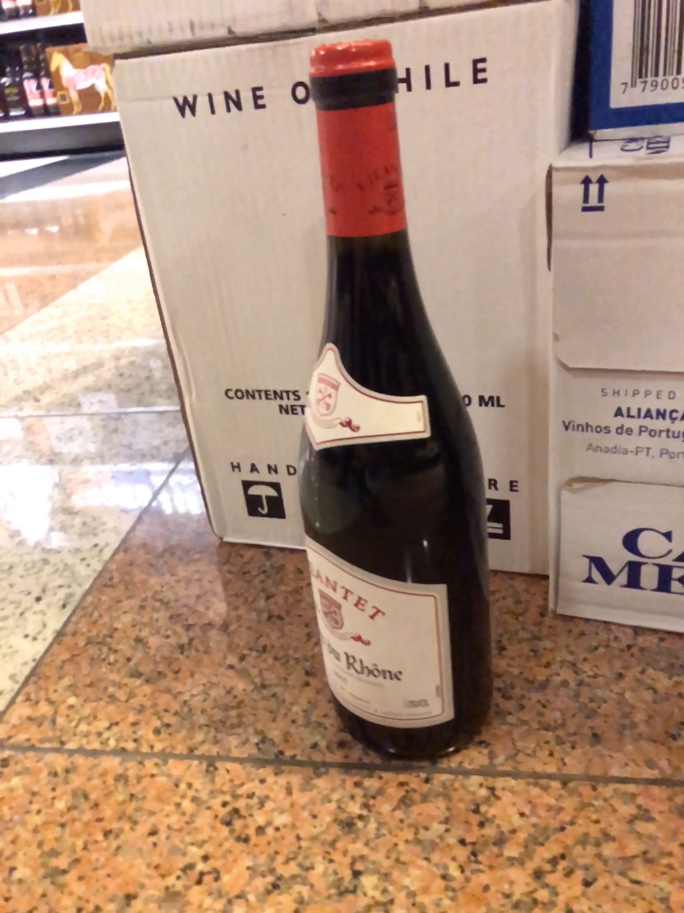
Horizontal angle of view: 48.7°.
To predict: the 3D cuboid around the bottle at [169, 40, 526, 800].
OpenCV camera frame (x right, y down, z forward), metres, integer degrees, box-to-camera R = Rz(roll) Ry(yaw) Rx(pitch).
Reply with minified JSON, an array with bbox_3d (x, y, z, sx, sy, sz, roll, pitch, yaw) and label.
[{"bbox_3d":[0.016,-0.005,0.320,0.080,0.288,0.090,-27,33,-34],"label":"bottle"}]
